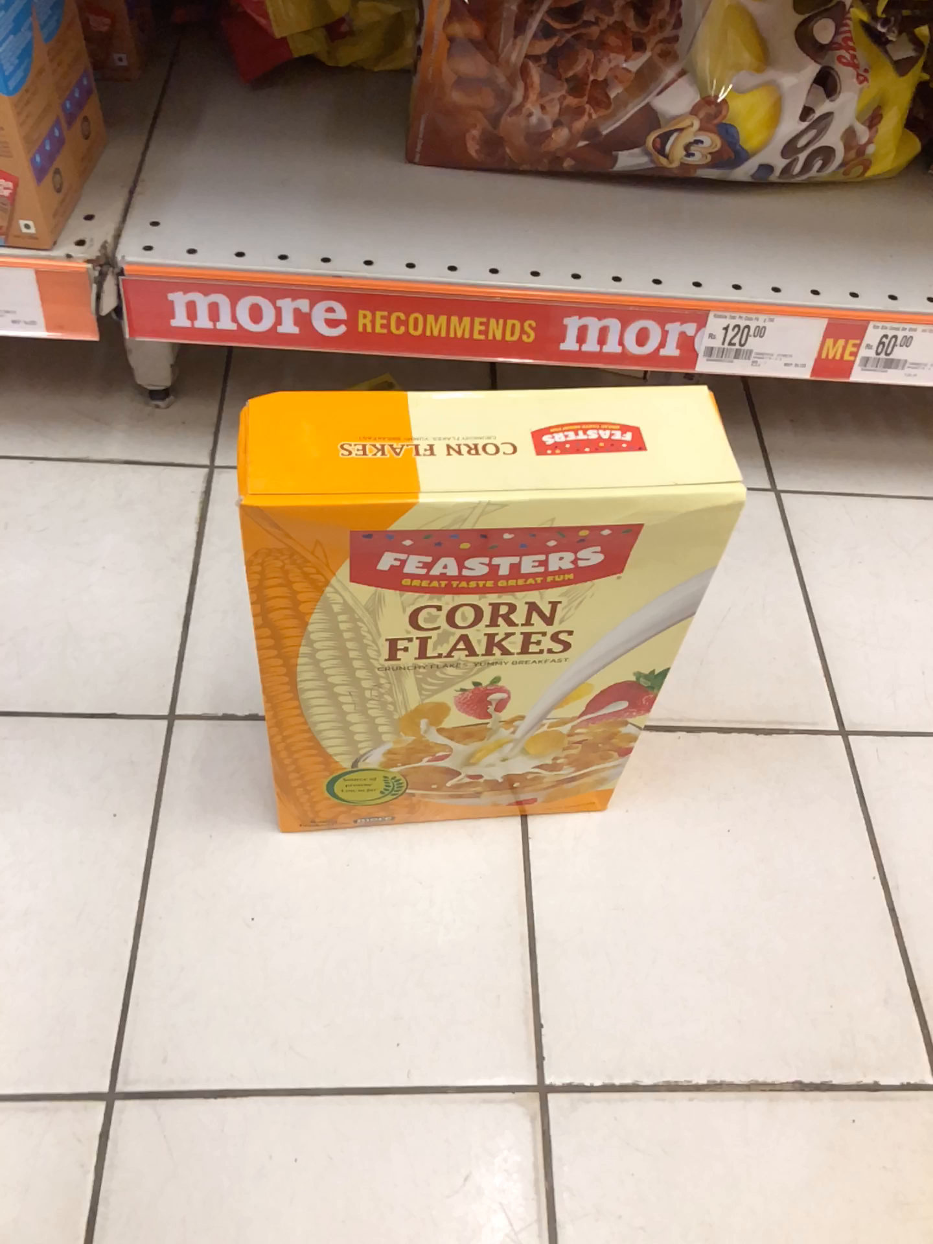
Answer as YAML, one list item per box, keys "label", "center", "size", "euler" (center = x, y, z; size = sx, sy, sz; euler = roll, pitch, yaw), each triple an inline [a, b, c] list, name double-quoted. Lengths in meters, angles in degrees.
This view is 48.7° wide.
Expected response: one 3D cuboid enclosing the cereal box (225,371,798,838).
- label: "cereal box"
  center: [0.004, 0.008, 0.453]
  size: [0.190, 0.249, 0.060]
  euler: [-3, 54, -8]
